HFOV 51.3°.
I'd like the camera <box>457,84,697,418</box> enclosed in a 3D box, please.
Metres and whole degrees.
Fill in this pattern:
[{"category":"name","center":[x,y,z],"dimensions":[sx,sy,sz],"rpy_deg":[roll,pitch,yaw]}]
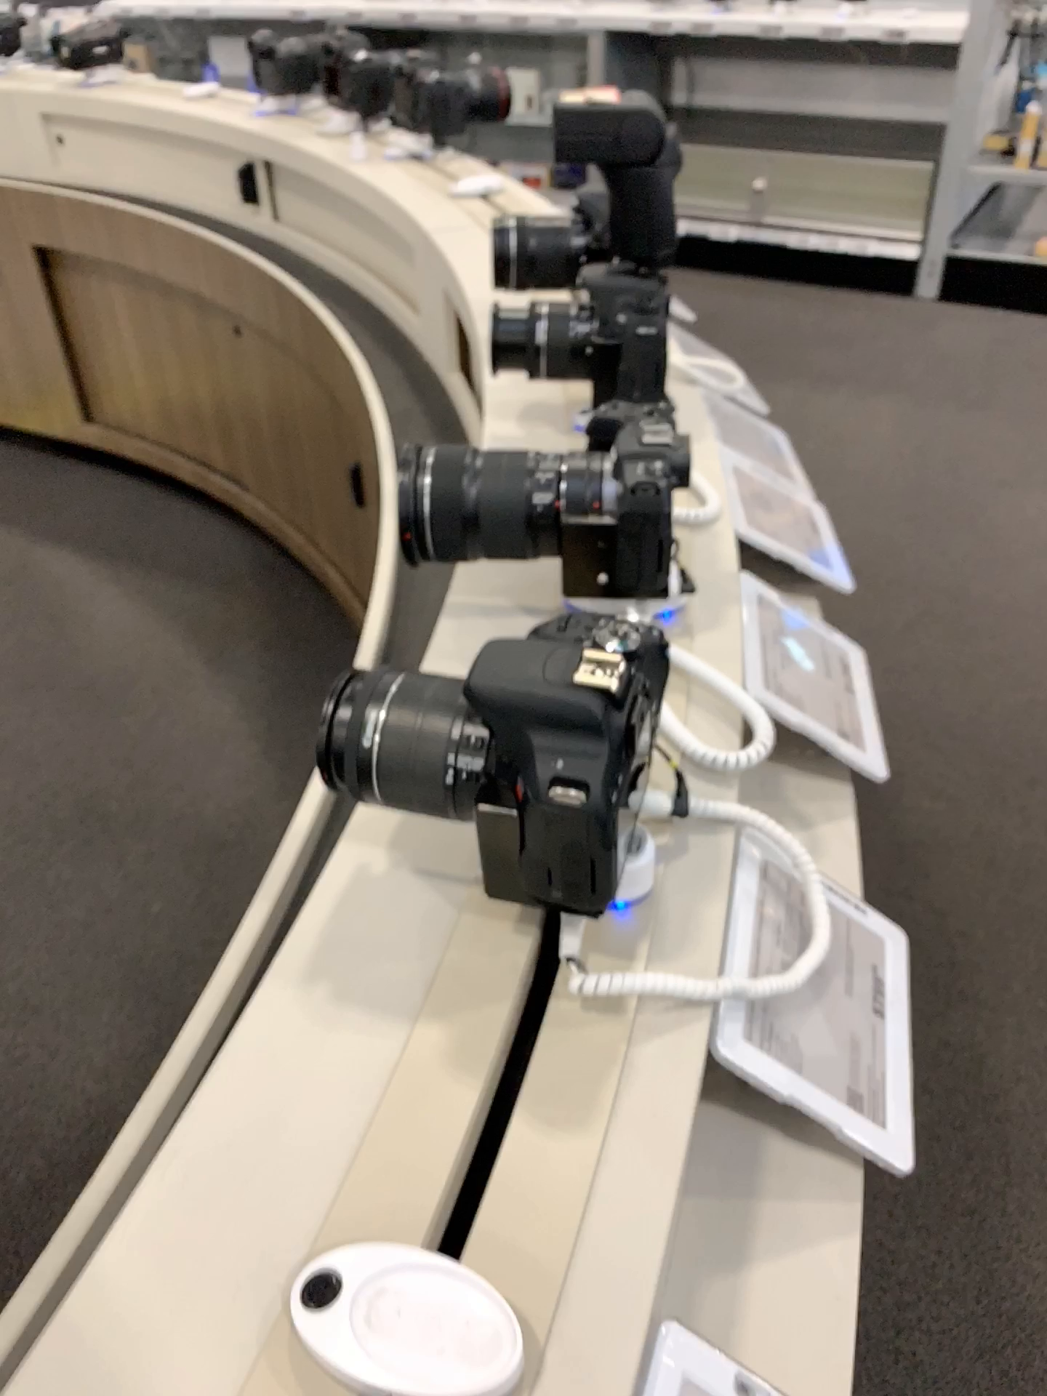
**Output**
[{"category":"camera","center":[0.045,-0.366,0.898],"dimensions":[0.170,0.219,0.151],"rpy_deg":[1,38,4]}]

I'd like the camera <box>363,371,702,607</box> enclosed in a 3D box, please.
[{"category":"camera","center":[0.010,-0.142,0.727],"dimensions":[0.200,0.099,0.141],"rpy_deg":[1,38,4]}]

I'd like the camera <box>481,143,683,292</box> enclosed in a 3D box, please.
[{"category":"camera","center":[0.055,-0.495,1.117],"dimensions":[0.190,0.099,0.141],"rpy_deg":[-3,38,-1]}]

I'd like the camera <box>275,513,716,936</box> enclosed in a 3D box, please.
[{"category":"camera","center":[-0.003,0.006,0.539],"dimensions":[0.170,0.119,0.151],"rpy_deg":[8,39,12]}]
